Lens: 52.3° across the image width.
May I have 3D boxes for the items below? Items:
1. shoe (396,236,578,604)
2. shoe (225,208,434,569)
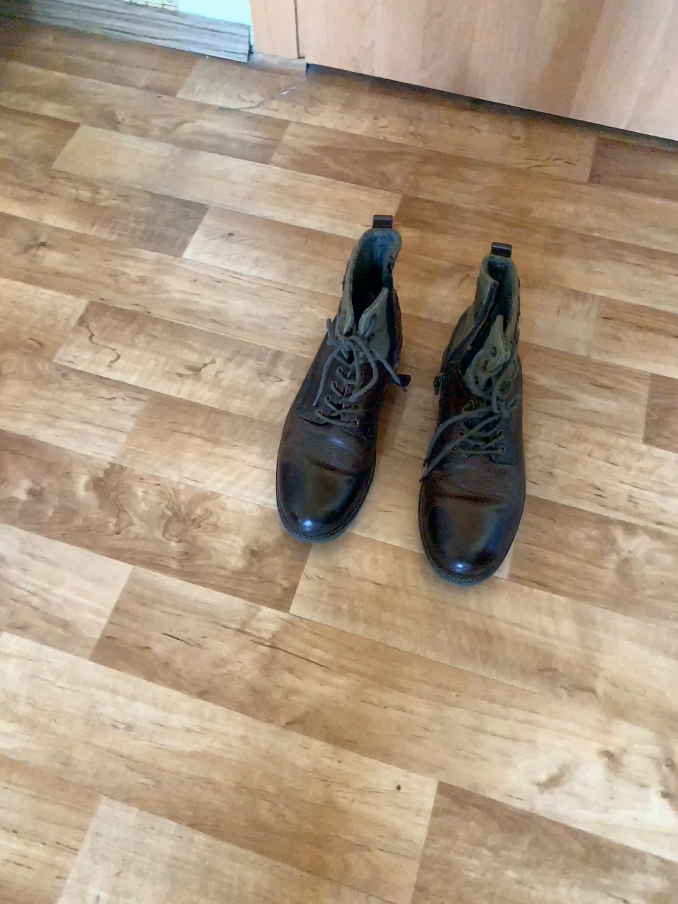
[{"bbox_3d":[0.144,-0.034,0.674,0.110,0.150,0.311,11,63,6],"label":"shoe"},{"bbox_3d":[0.002,-0.065,0.685,0.110,0.150,0.311,13,63,7],"label":"shoe"}]
